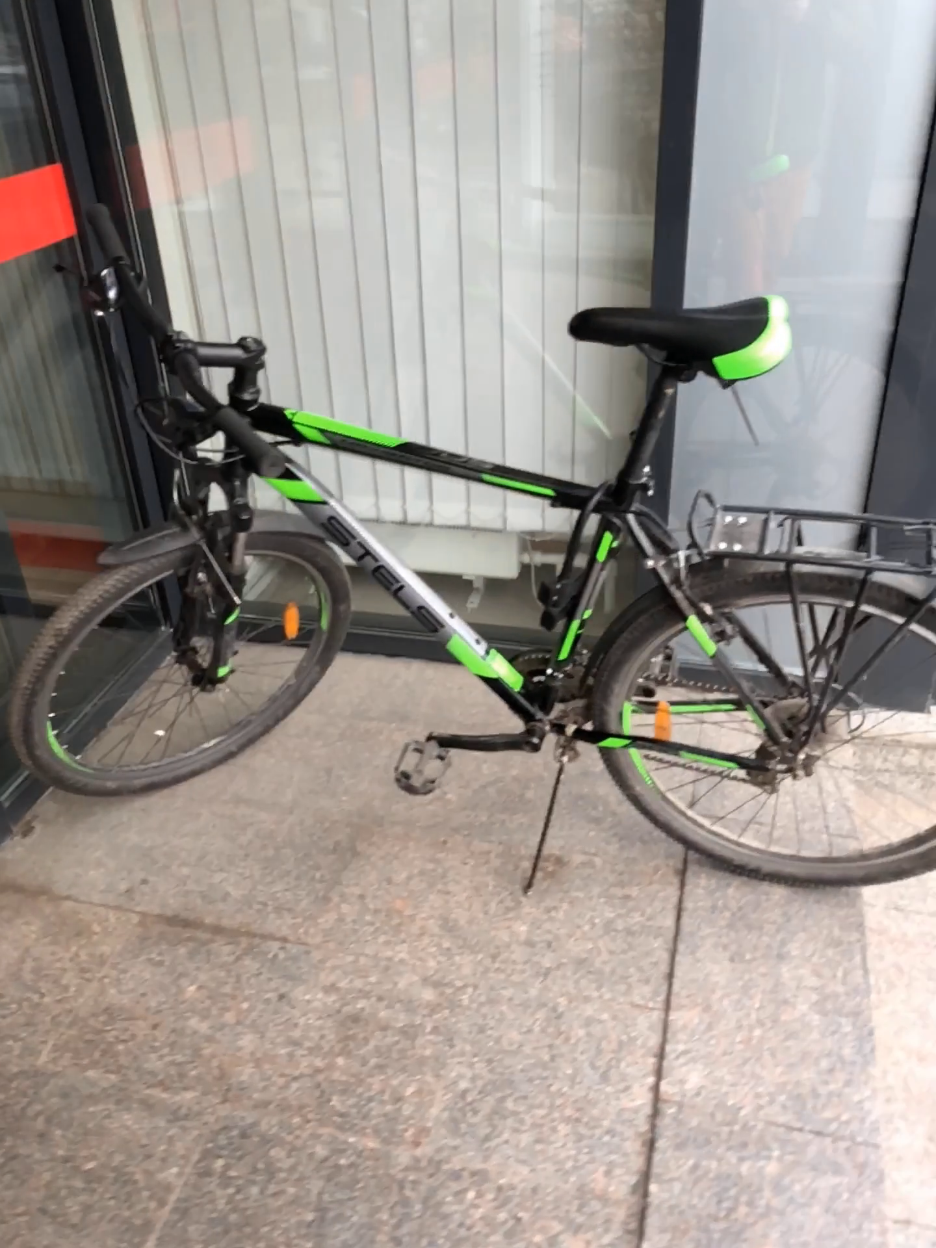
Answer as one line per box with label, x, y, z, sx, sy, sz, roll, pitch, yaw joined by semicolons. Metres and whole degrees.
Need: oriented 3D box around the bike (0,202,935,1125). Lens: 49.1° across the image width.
bike;0.027;0.038;1.460;1.545;1.051;0.632;2;31;7
